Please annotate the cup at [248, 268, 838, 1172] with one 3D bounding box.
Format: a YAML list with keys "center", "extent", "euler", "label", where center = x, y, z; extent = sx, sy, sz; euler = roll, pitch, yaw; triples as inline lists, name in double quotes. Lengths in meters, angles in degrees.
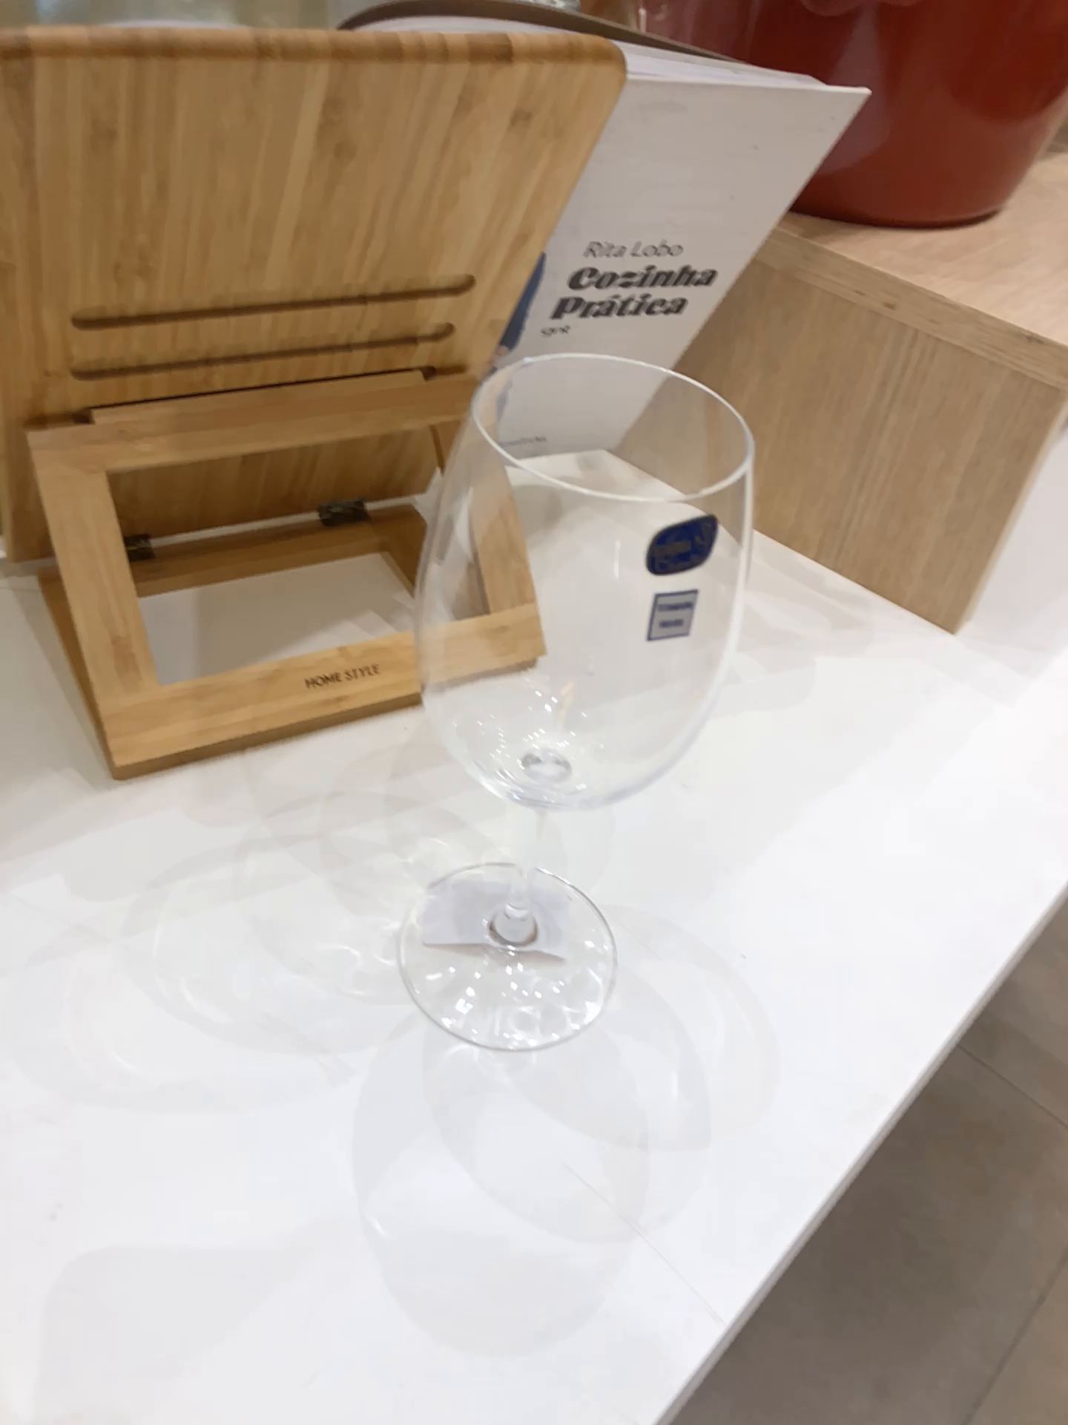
- center: [-0.012, 0.013, 0.345]
  extent: [0.100, 0.238, 0.090]
  euler: [-28, 54, -35]
  label: "cup"
